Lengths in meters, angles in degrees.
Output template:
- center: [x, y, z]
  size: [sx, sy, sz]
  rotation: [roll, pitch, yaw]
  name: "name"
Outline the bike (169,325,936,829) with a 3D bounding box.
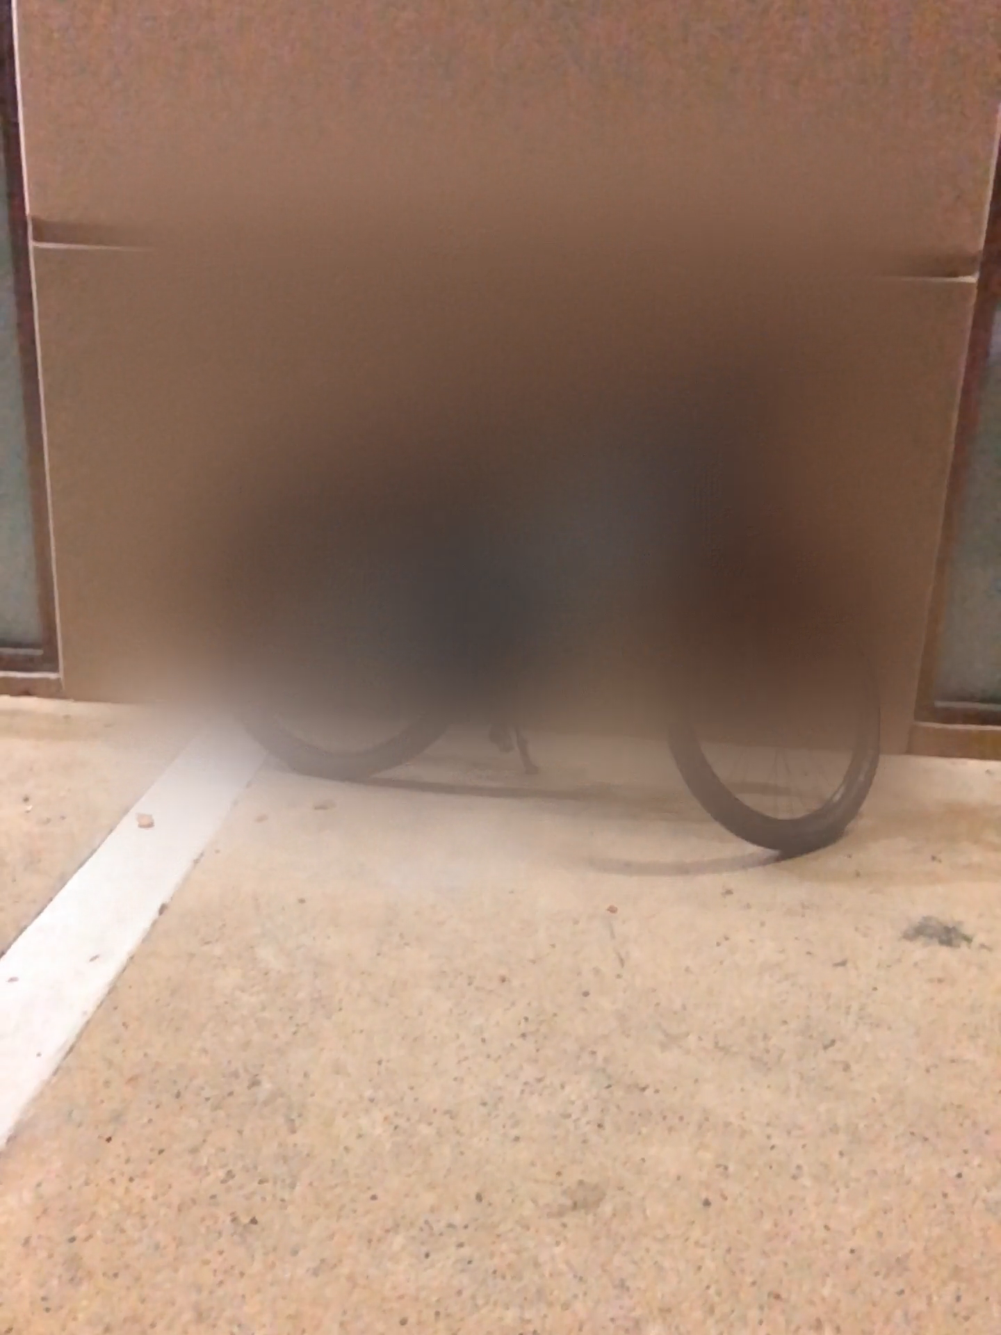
- center: [0.130, -0.265, 2.721]
  size: [1.602, 1.063, 0.589]
  rotation: [4, 16, 6]
  name: "bike"
